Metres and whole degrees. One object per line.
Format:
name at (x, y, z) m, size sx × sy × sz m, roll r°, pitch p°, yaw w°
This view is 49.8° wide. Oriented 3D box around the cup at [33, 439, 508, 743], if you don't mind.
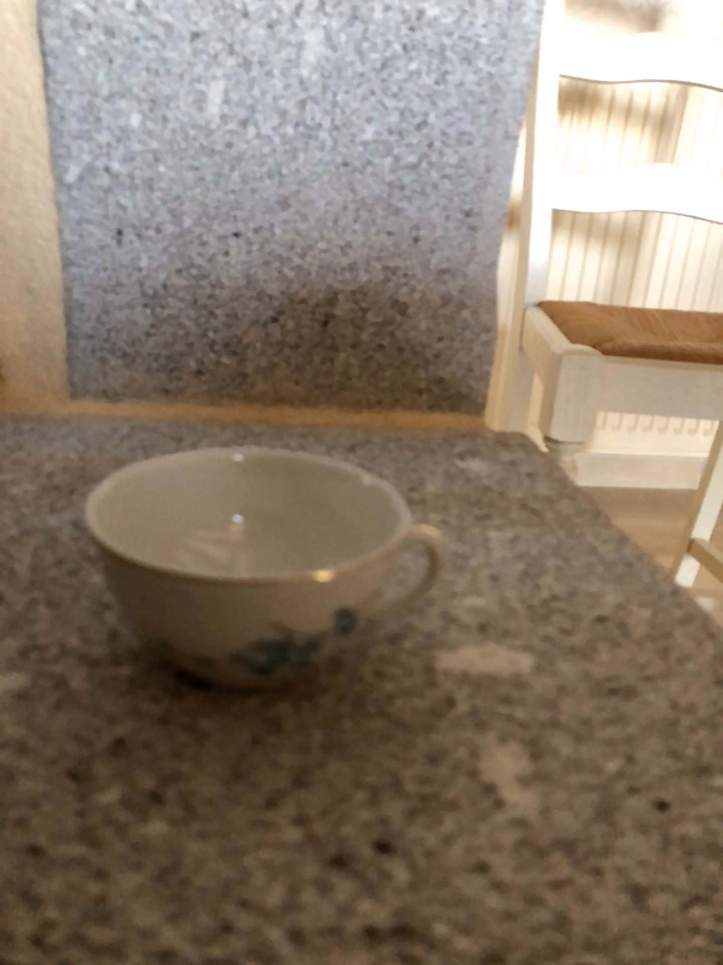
cup at (-0.030, 0.022, 0.225) m, size 0.110 × 0.040 × 0.090 m, roll -2°, pitch 22°, yaw -18°
